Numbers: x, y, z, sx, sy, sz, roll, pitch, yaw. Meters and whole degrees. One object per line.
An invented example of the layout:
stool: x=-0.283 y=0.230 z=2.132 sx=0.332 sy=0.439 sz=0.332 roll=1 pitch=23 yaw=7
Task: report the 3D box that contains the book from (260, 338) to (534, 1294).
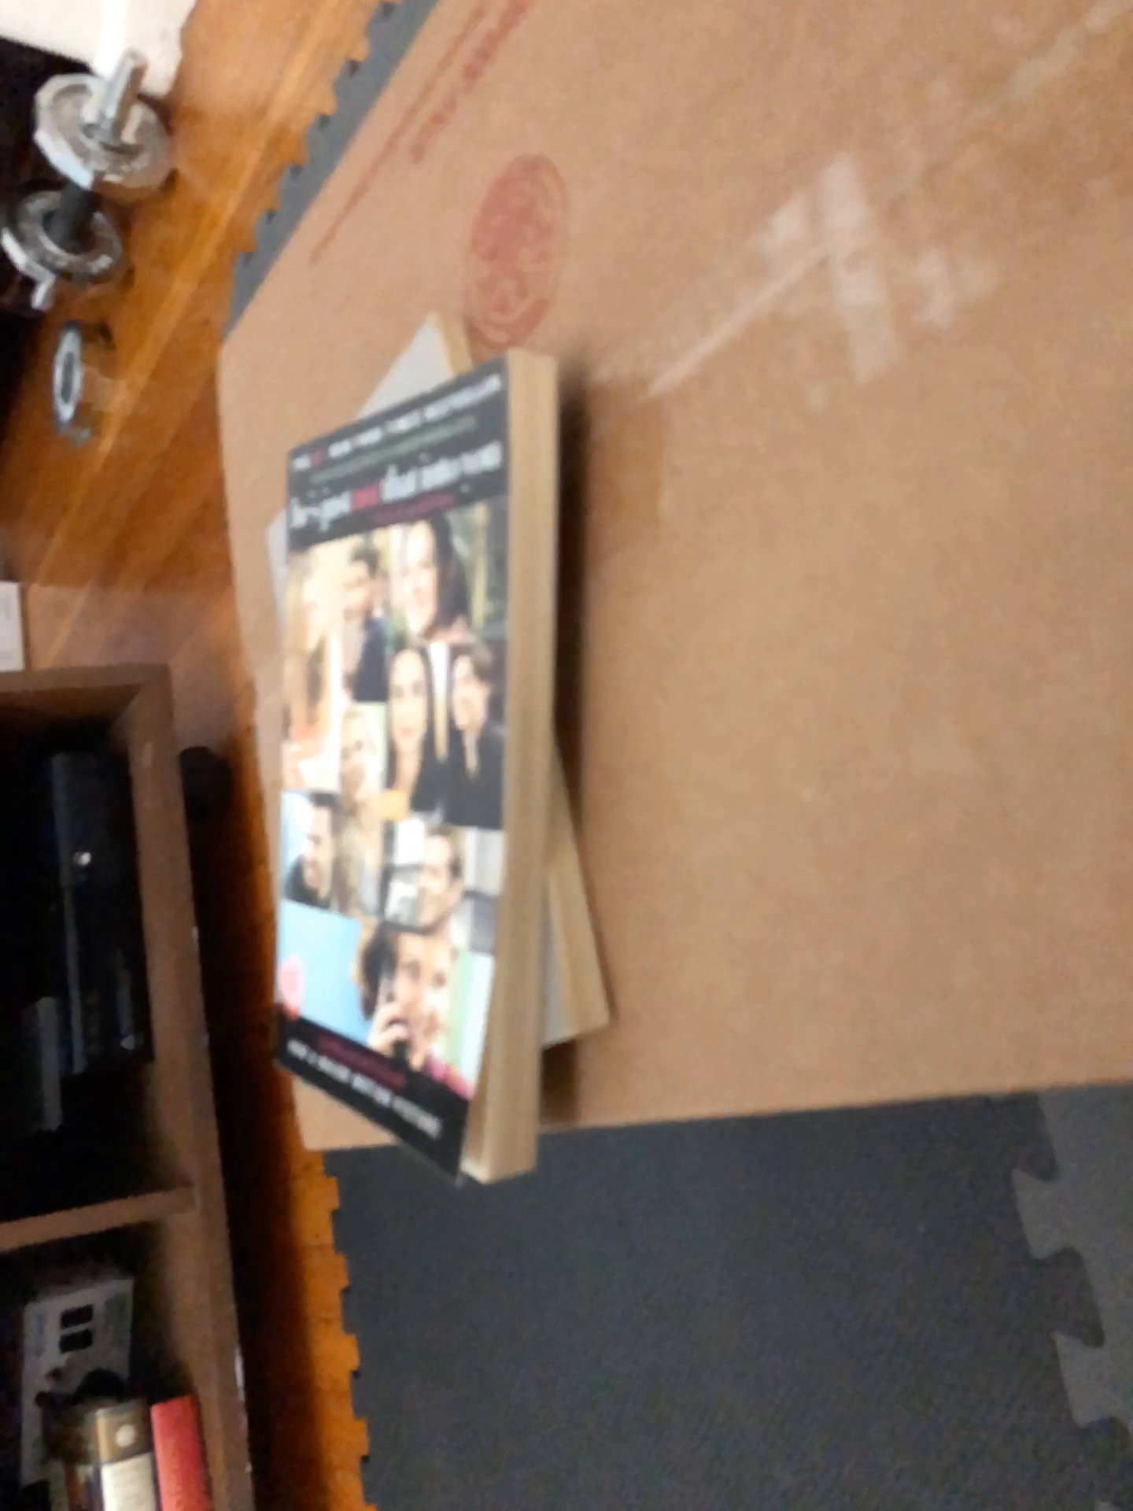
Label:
book: x=-0.056 y=0.014 z=0.360 sx=0.151 sy=0.010 sz=0.230 roll=0 pitch=90 yaw=54
